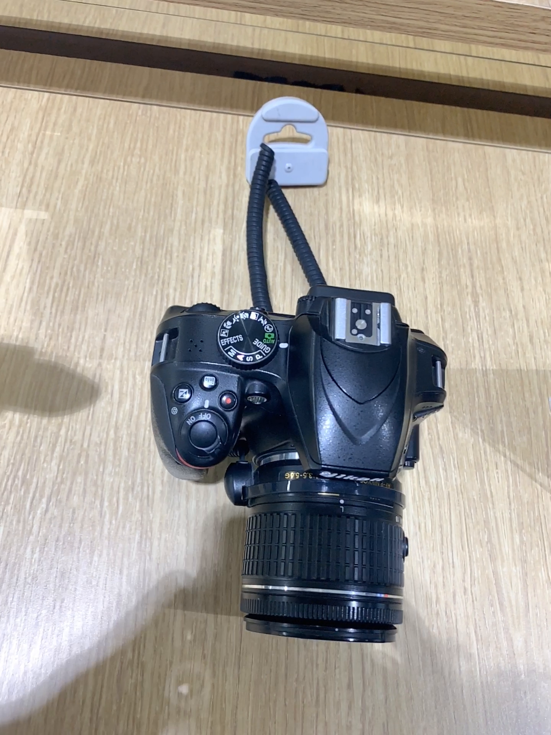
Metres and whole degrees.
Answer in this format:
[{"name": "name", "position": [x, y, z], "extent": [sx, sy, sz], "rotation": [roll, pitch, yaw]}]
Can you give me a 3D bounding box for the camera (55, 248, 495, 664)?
[{"name": "camera", "position": [-0.002, 0.039, 0.222], "extent": [0.120, 0.090, 0.130], "rotation": [4, 65, -5]}]
